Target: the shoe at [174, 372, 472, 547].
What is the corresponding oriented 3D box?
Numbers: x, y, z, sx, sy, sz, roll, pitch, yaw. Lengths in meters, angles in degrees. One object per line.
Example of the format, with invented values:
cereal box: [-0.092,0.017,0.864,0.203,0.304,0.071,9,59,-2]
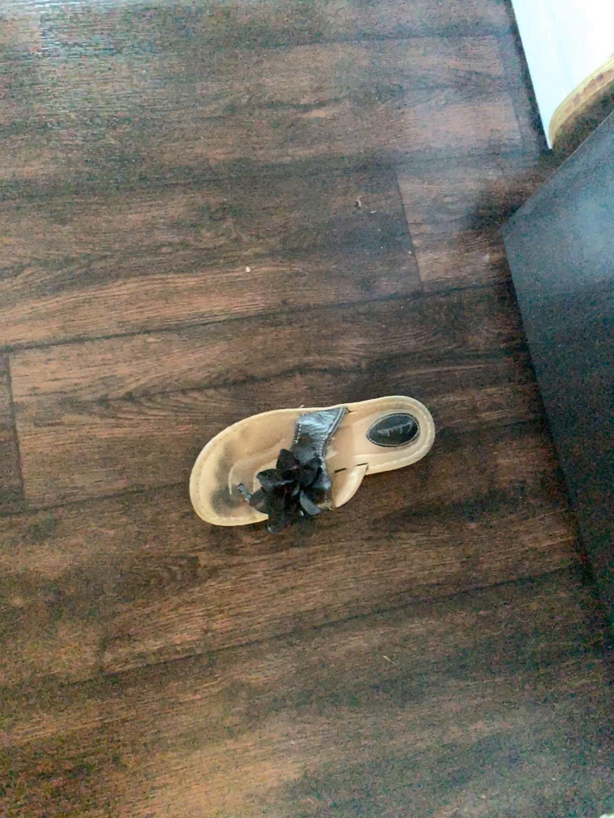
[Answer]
shoe: [0.014,0.045,0.580,0.250,0.050,0.110,-10,81,-10]
